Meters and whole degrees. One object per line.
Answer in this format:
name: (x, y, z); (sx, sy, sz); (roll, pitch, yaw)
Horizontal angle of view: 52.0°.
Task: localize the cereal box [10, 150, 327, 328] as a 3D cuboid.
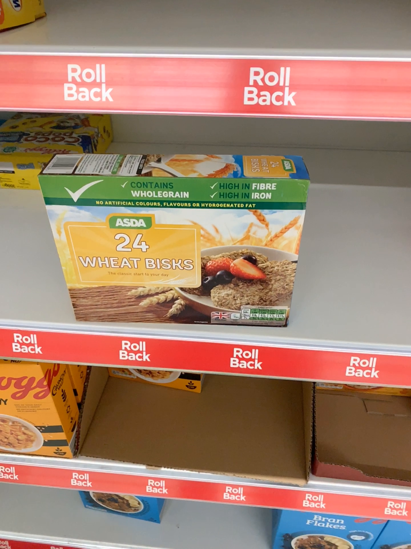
cereal box: (-0.031, -0.030, 0.439); (0.270, 0.178, 0.061); (1, 39, 1)
